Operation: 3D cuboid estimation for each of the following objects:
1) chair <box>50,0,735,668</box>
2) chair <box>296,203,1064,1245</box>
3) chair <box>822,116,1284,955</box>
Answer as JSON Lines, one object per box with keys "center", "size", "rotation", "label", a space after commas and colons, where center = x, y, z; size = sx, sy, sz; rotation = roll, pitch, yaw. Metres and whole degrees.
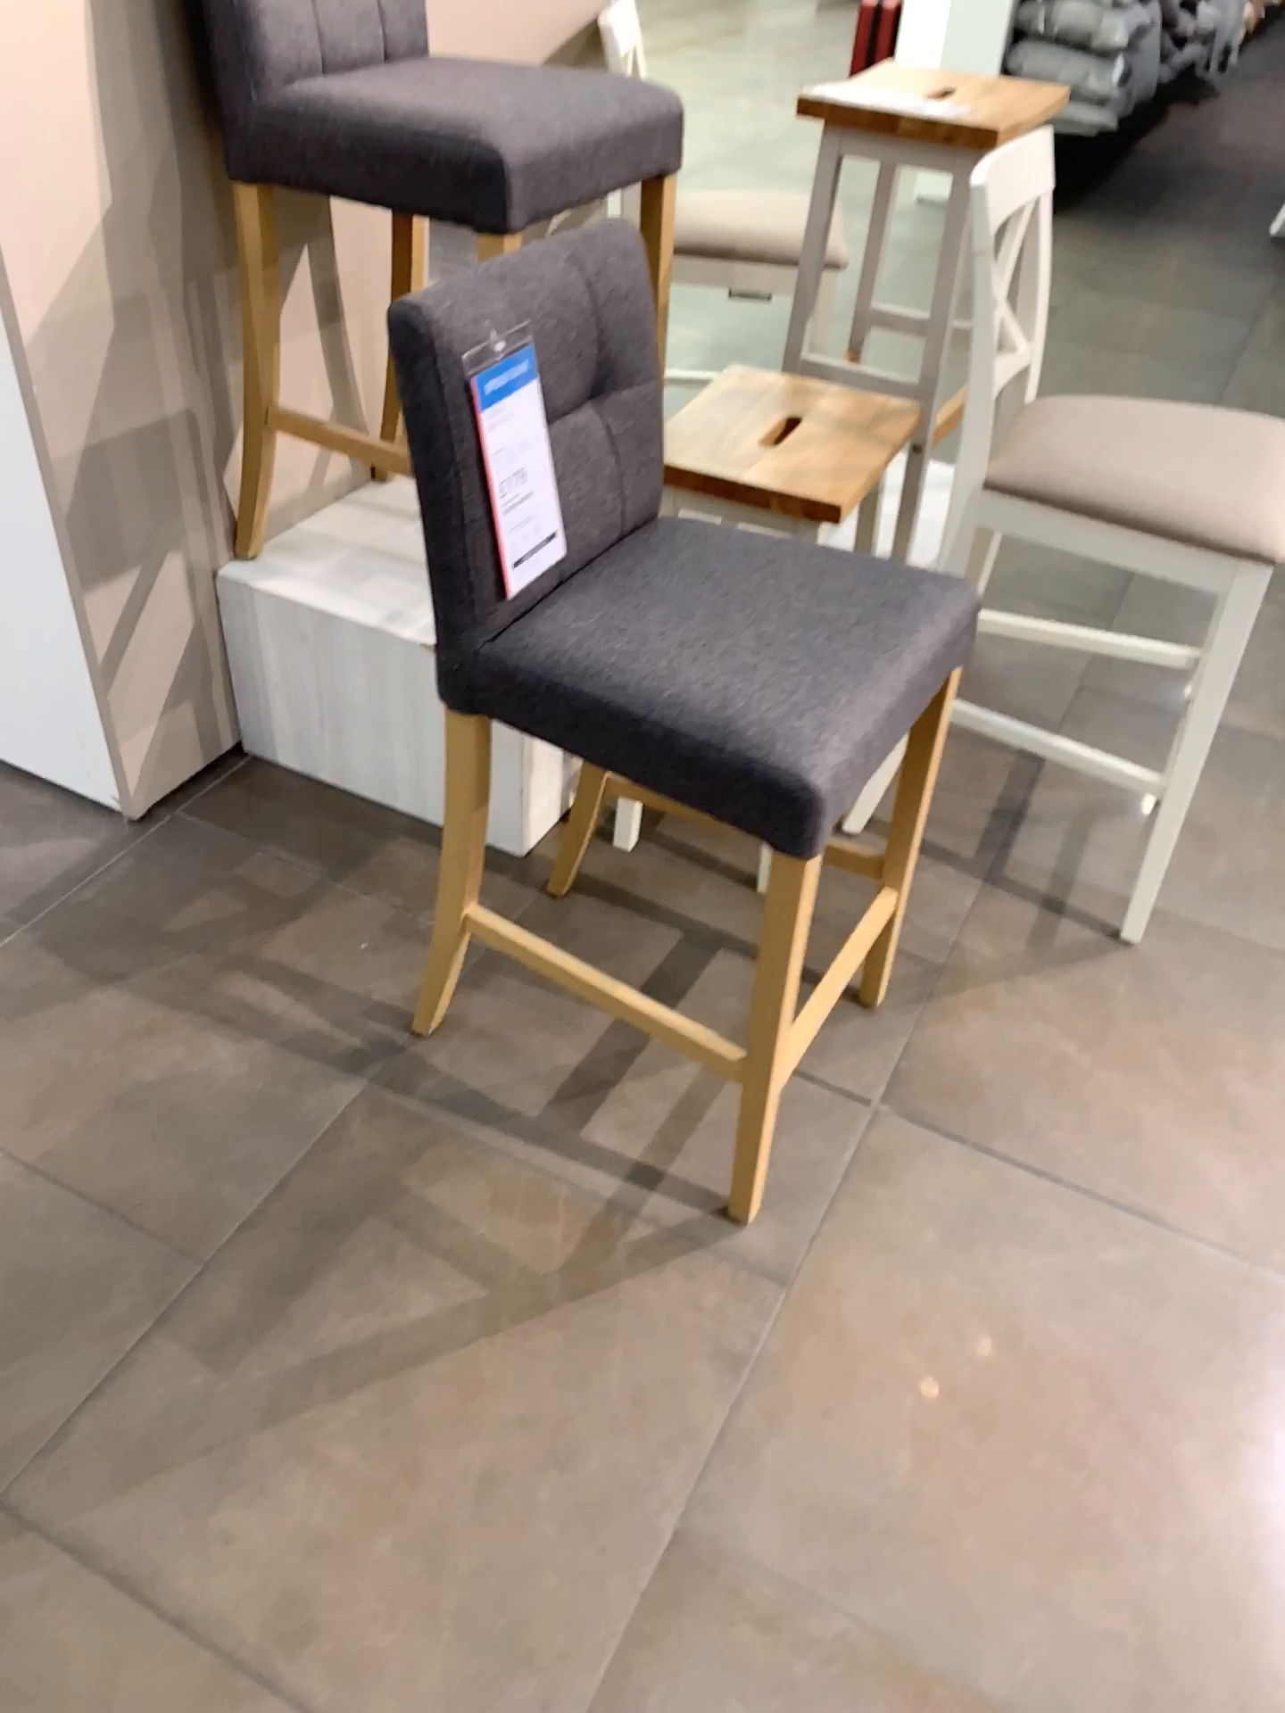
{"center": [-0.273, -0.847, 1.760], "size": [0.539, 0.918, 0.551], "rotation": [20, 41, 19], "label": "chair"}
{"center": [0.037, -0.137, 1.448], "size": [0.519, 0.908, 0.490], "rotation": [20, 42, 20], "label": "chair"}
{"center": [0.637, -0.443, 1.853], "size": [0.499, 0.938, 0.510], "rotation": [20, 41, 19], "label": "chair"}
